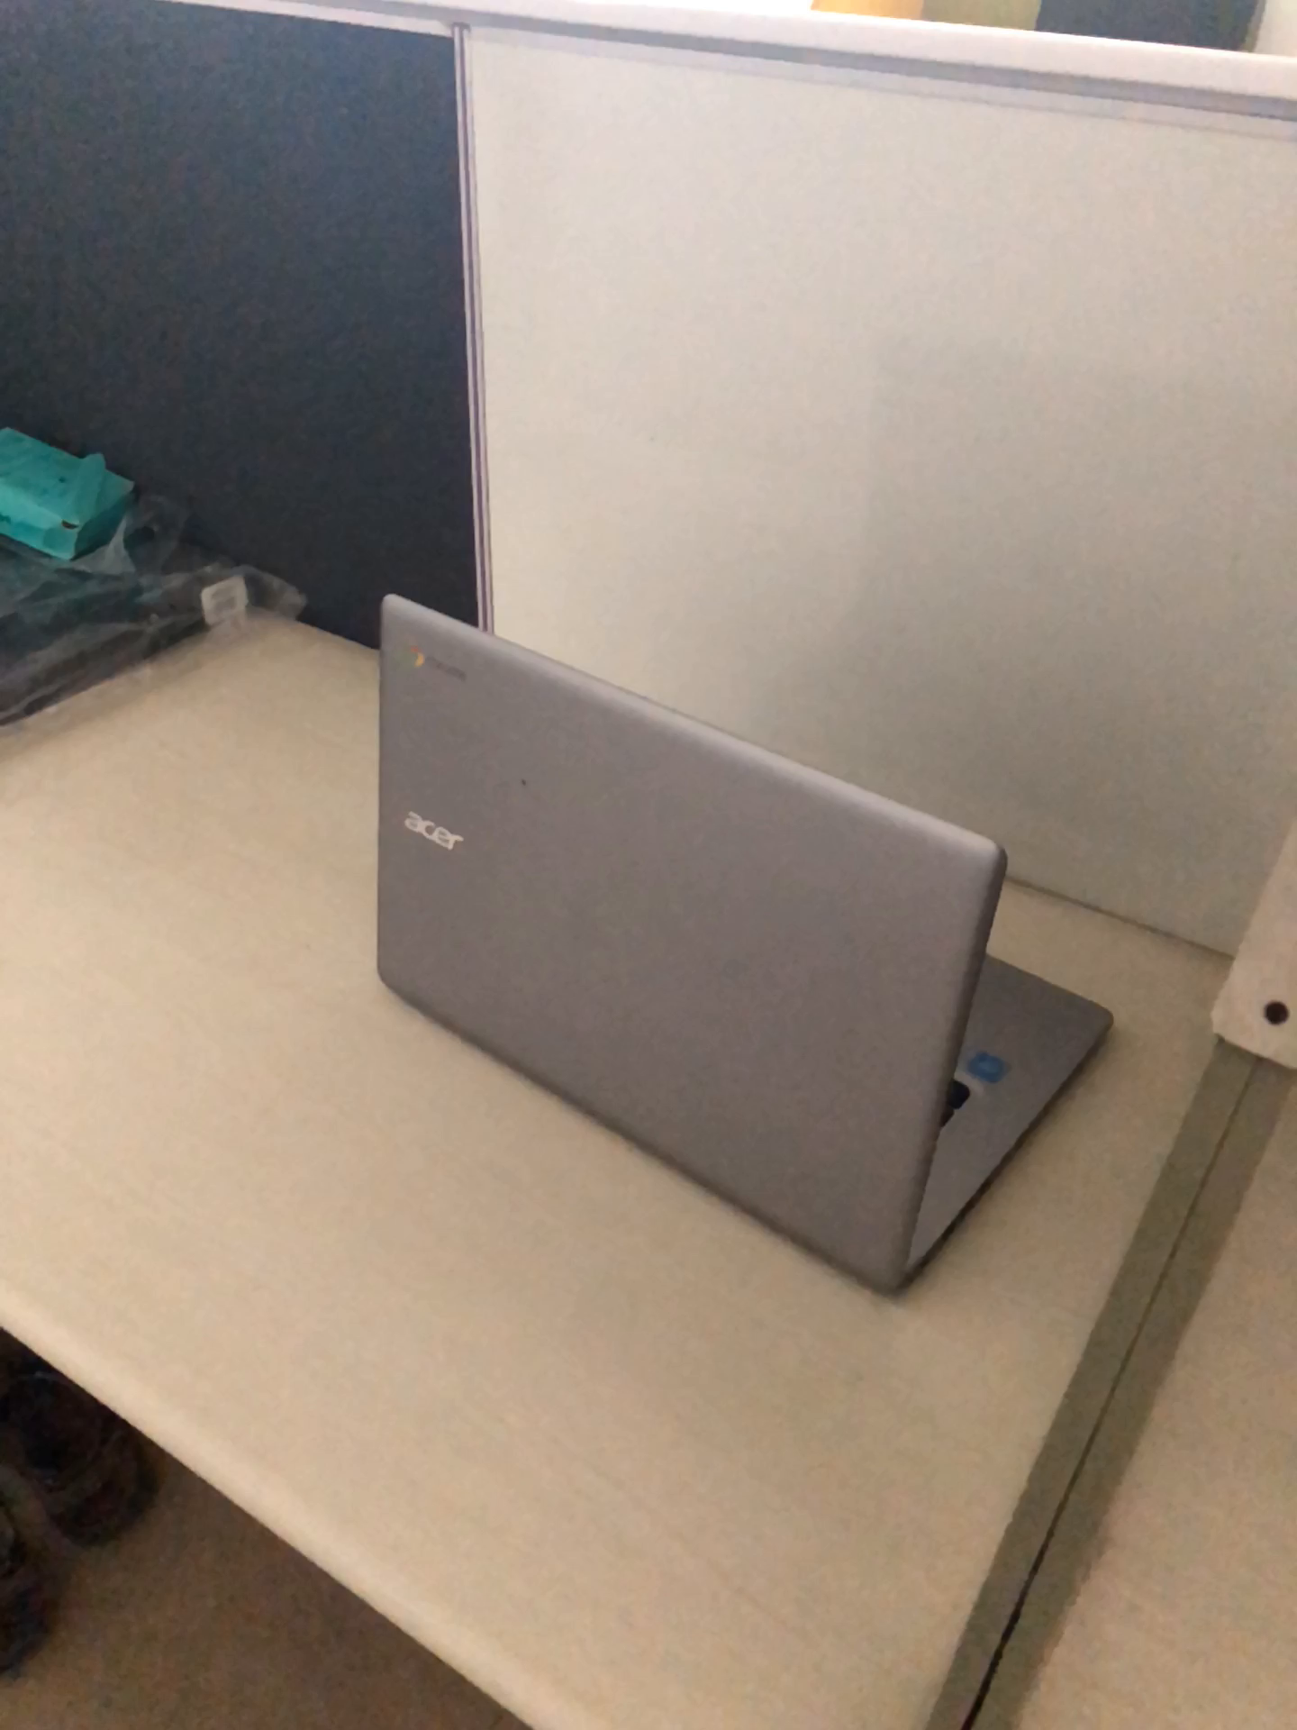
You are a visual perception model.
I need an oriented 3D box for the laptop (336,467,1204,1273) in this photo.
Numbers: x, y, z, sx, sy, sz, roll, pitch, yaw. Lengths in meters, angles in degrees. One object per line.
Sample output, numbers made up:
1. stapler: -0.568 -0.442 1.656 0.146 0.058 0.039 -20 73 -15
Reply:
1. laptop: 0.053 -0.020 0.718 0.322 0.218 0.221 27 43 28
